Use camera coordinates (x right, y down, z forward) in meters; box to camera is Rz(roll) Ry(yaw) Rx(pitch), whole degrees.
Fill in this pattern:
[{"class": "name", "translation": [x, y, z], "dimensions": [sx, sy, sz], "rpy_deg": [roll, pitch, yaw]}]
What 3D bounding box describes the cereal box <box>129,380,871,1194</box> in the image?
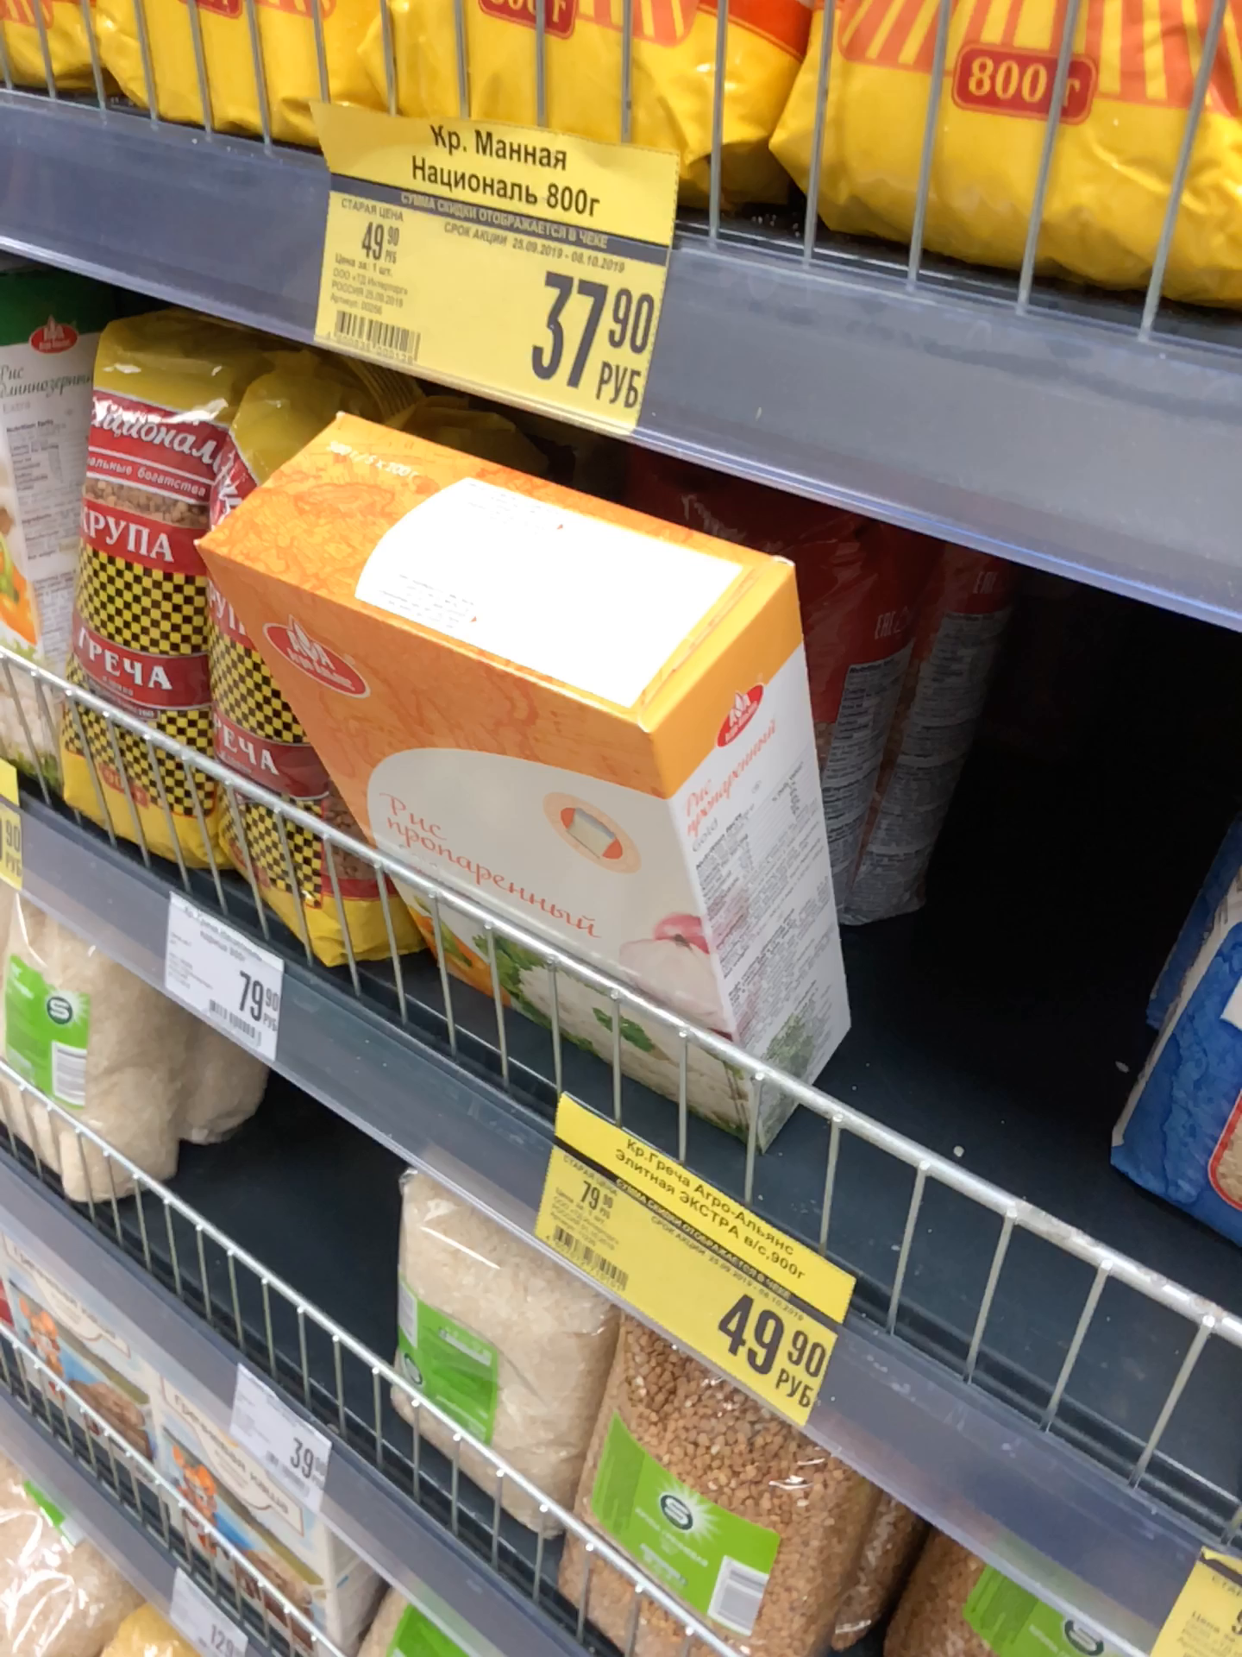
[{"class": "cereal box", "translation": [-0.017, -0.002, 0.353], "dimensions": [0.140, 0.189, 0.060], "rpy_deg": [26, 63, 29]}]
